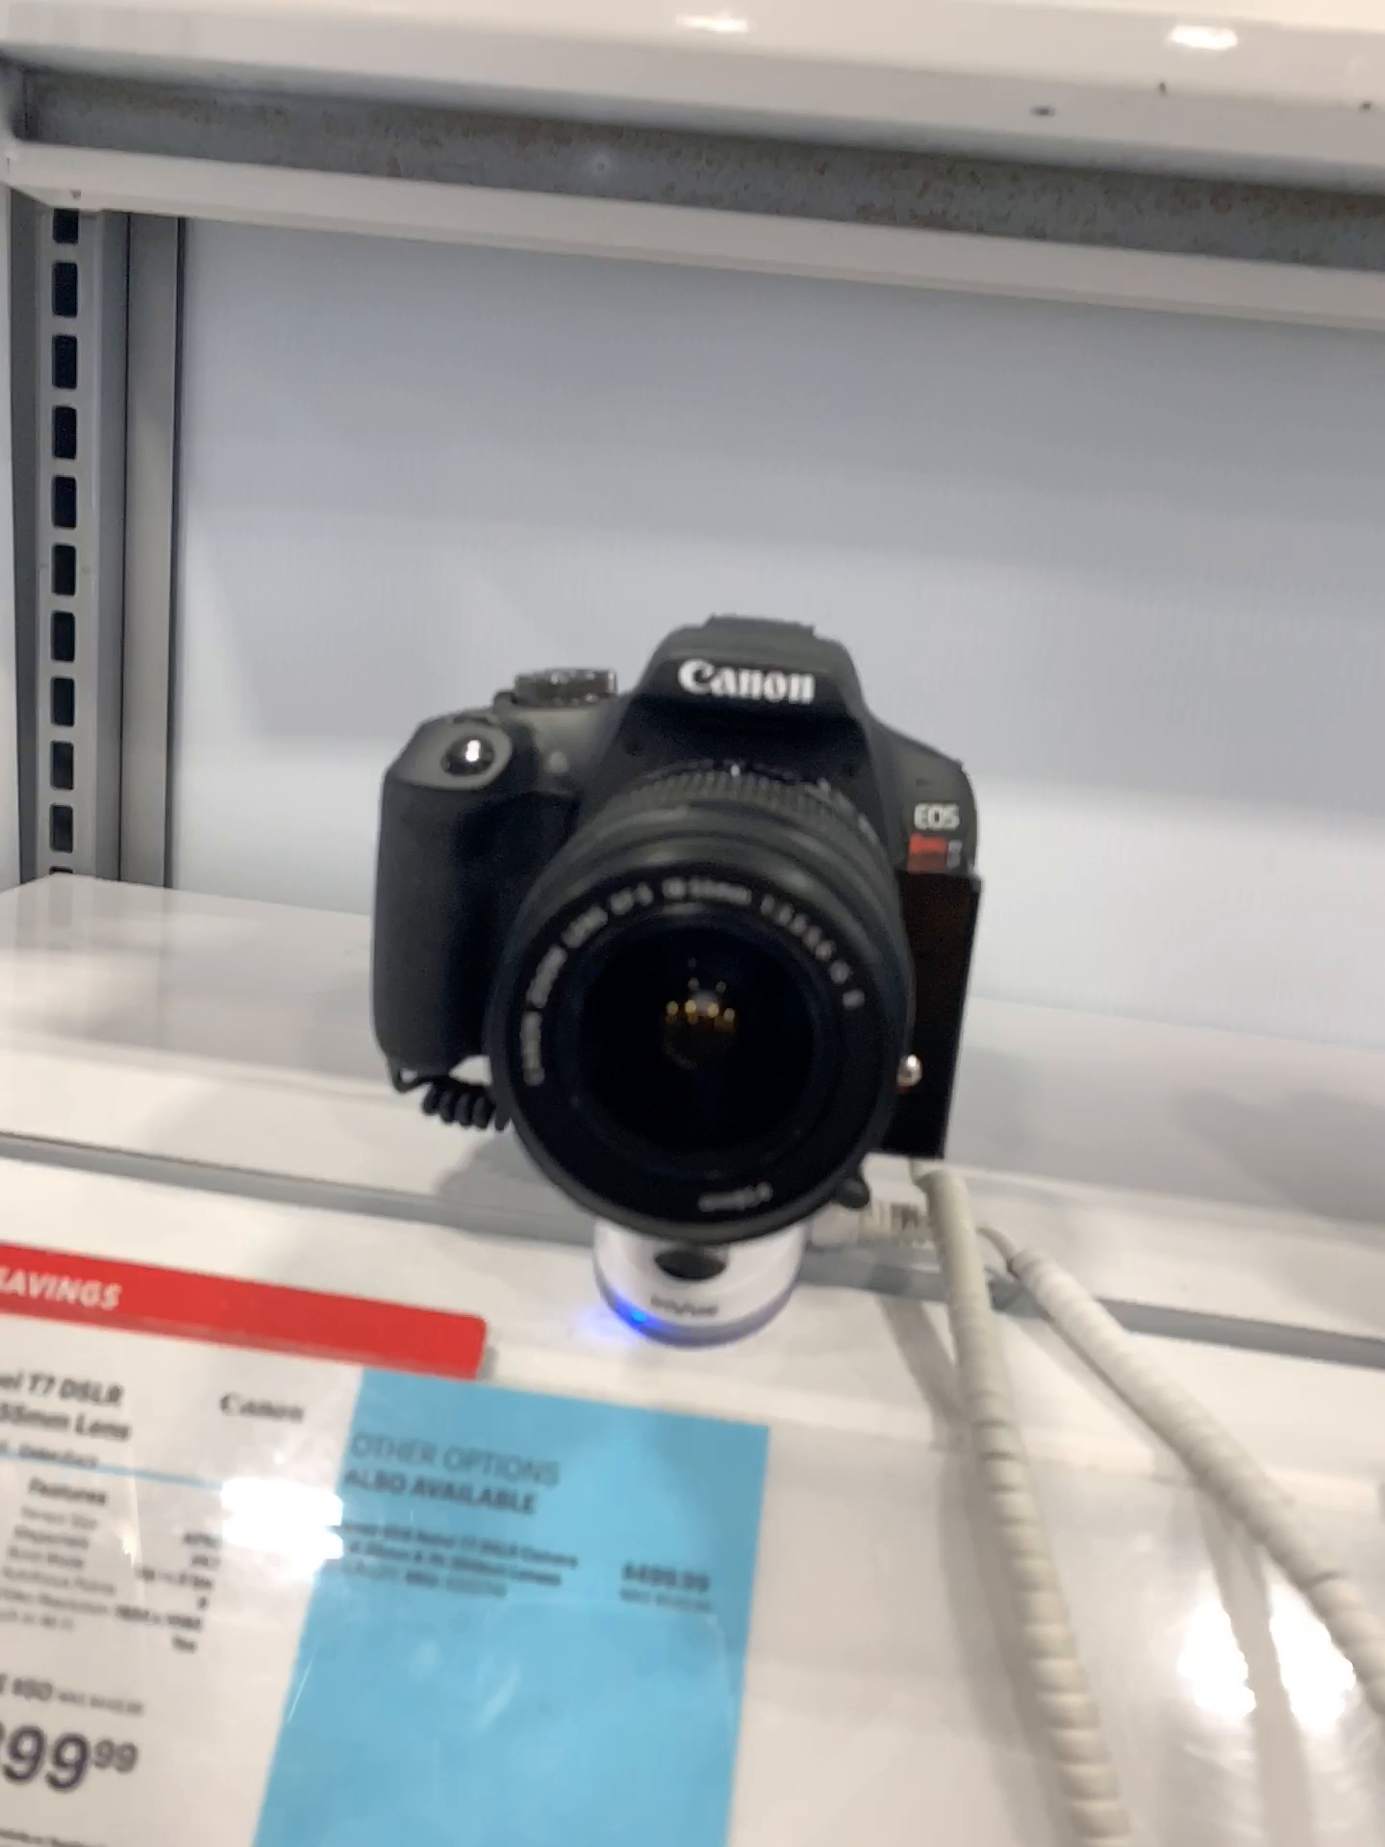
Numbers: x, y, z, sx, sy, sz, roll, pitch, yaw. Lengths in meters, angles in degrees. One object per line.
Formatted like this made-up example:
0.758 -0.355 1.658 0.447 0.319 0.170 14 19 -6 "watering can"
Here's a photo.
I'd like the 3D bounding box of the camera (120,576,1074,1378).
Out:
-0.011 -0.007 0.263 0.125 0.100 0.141 6 15 4 "camera"
